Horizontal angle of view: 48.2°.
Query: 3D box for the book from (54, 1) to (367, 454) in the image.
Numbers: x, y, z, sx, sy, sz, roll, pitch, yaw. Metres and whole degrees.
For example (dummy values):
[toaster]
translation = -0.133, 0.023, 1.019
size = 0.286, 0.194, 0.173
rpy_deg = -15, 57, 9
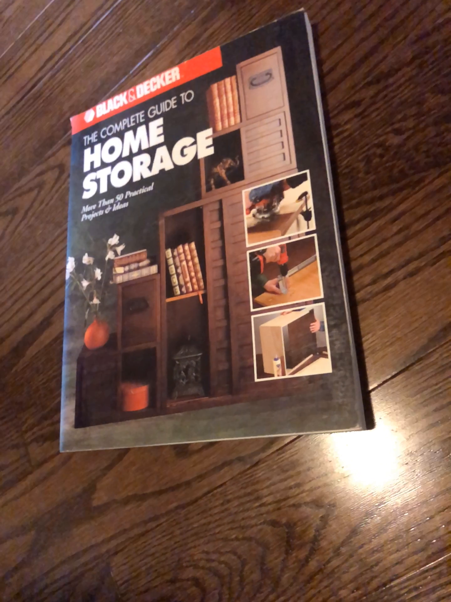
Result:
[book]
translation = -0.030, -0.047, 0.359
size = 0.215, 0.020, 0.287
rpy_deg = -12, 71, 25
